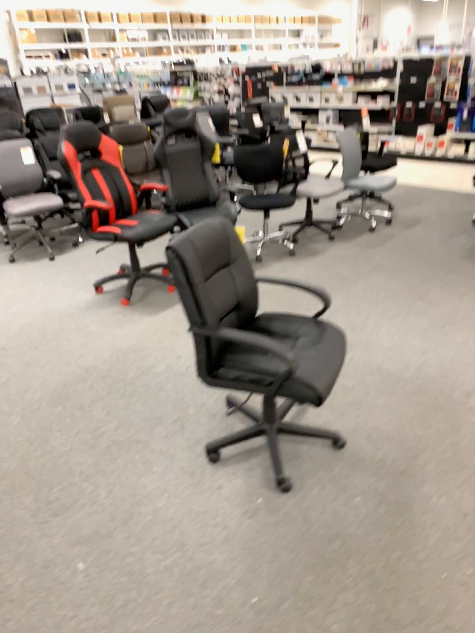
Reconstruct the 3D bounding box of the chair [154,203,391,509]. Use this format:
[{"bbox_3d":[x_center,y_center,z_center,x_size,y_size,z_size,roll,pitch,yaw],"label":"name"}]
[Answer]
[{"bbox_3d":[0.184,0.096,2.012,0.701,0.965,0.683,9,27,23],"label":"chair"}]
